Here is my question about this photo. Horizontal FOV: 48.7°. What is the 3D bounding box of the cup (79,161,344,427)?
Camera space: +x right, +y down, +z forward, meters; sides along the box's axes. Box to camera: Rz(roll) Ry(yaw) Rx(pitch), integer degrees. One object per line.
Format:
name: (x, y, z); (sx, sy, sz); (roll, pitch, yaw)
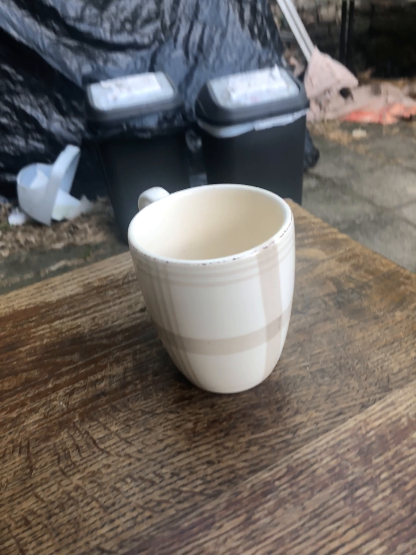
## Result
cup: (-0.001, -0.002, 0.268); (0.088, 0.078, 0.125); (-26, 39, -24)
